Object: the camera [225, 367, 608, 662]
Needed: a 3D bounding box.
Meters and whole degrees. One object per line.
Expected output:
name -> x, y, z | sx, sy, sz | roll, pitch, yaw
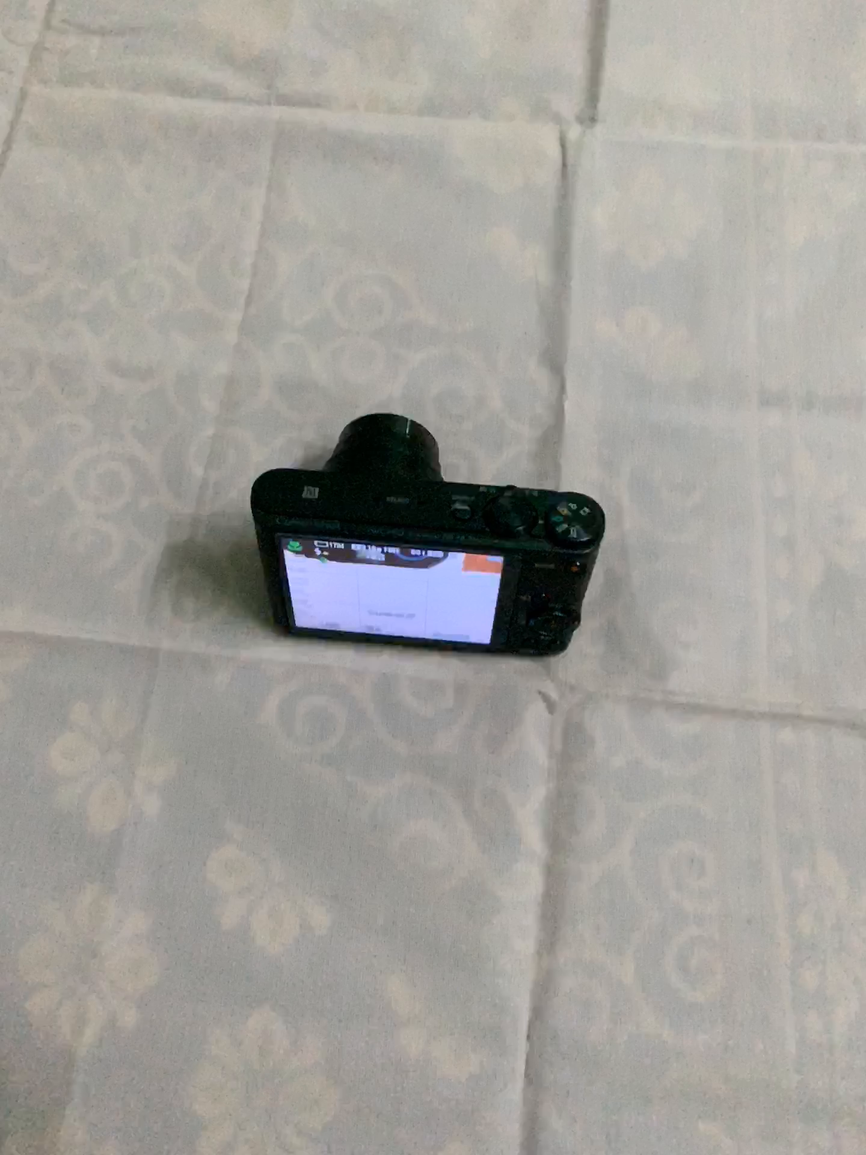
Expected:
camera -> -0.003, -0.017, 0.273 | 0.100, 0.060, 0.058 | 5, 60, 1
